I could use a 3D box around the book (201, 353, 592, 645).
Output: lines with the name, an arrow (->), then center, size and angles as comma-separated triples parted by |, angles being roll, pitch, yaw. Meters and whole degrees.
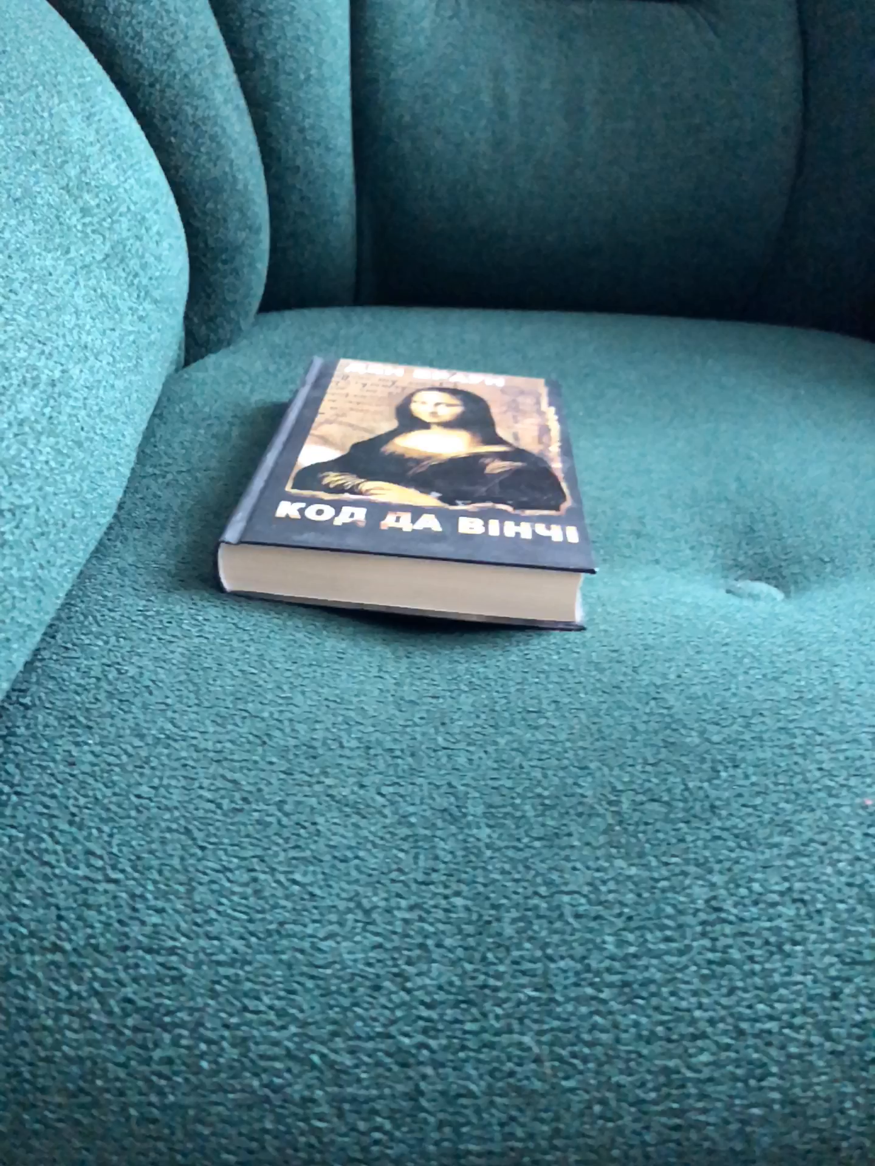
book -> -0.011, -0.050, 0.430 | 0.135, 0.030, 0.211 | 5, 31, 0
